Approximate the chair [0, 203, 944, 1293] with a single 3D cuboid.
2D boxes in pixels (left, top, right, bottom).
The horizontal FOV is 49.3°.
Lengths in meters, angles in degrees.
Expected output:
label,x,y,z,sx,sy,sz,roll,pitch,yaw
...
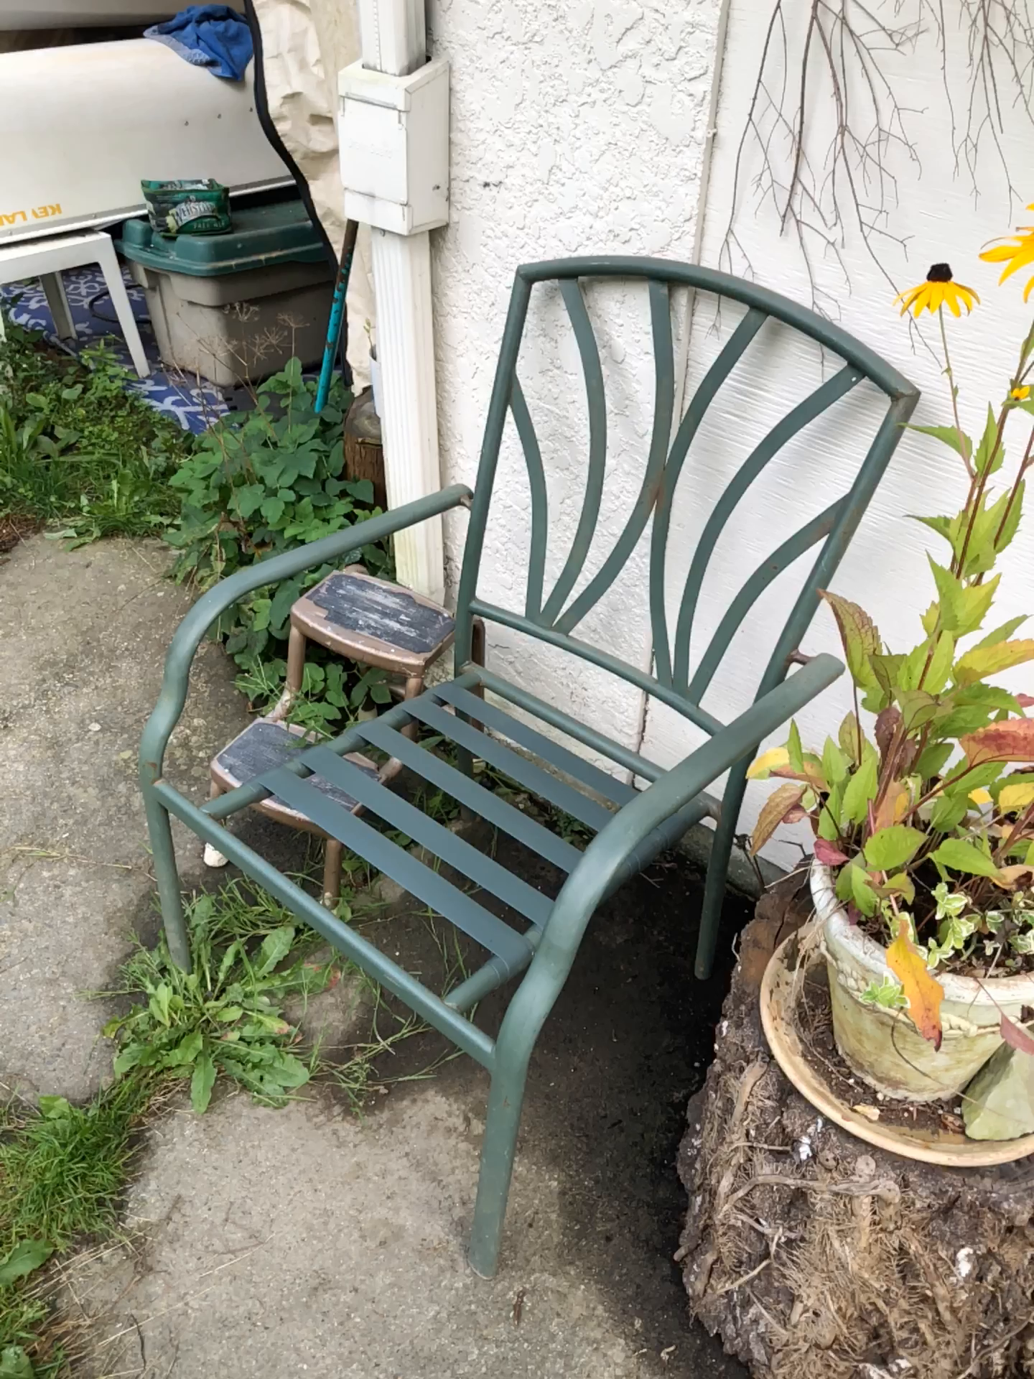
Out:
label,x,y,z,sx,sy,sz,roll,pitch,yaw
chair,-0.044,0.013,1.332,0.622,0.904,0.682,28,43,32
